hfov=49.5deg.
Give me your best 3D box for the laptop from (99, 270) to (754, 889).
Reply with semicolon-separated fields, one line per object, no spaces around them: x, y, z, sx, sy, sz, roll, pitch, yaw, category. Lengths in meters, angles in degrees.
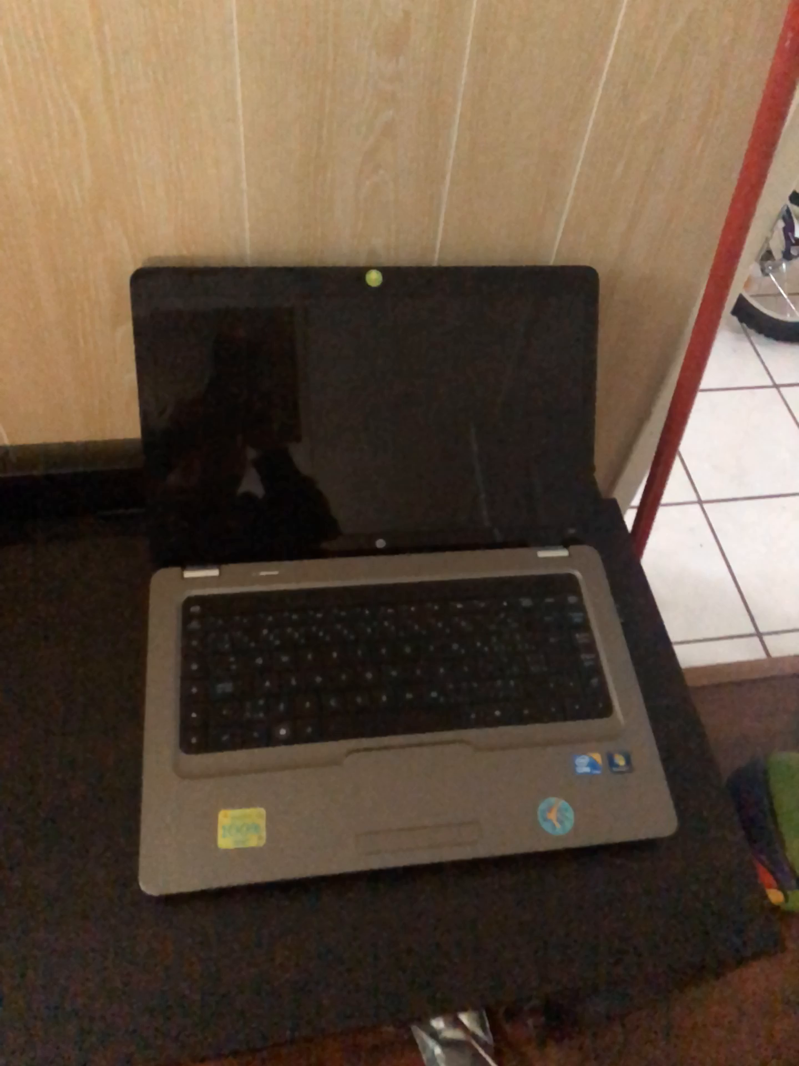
-0.006;0.006;0.649;0.363;0.154;0.420;-2;56;-8;laptop
